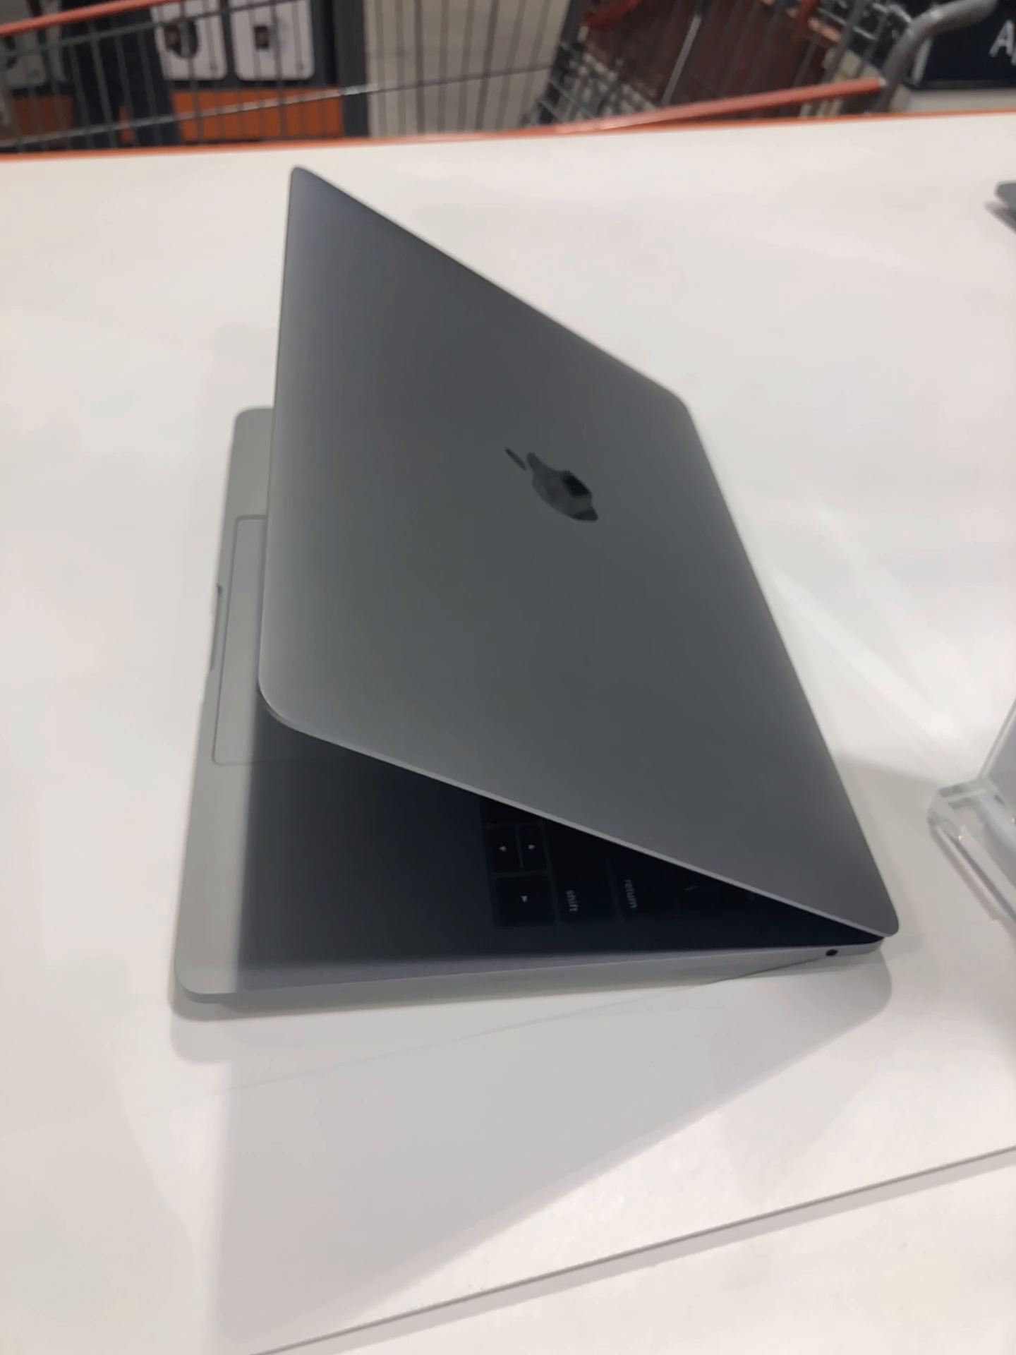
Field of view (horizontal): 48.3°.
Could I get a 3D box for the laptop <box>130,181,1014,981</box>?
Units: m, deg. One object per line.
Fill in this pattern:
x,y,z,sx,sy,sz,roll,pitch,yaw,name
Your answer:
0.000,-0.061,0.400,0.204,0.109,0.296,-3,45,-6,laptop
